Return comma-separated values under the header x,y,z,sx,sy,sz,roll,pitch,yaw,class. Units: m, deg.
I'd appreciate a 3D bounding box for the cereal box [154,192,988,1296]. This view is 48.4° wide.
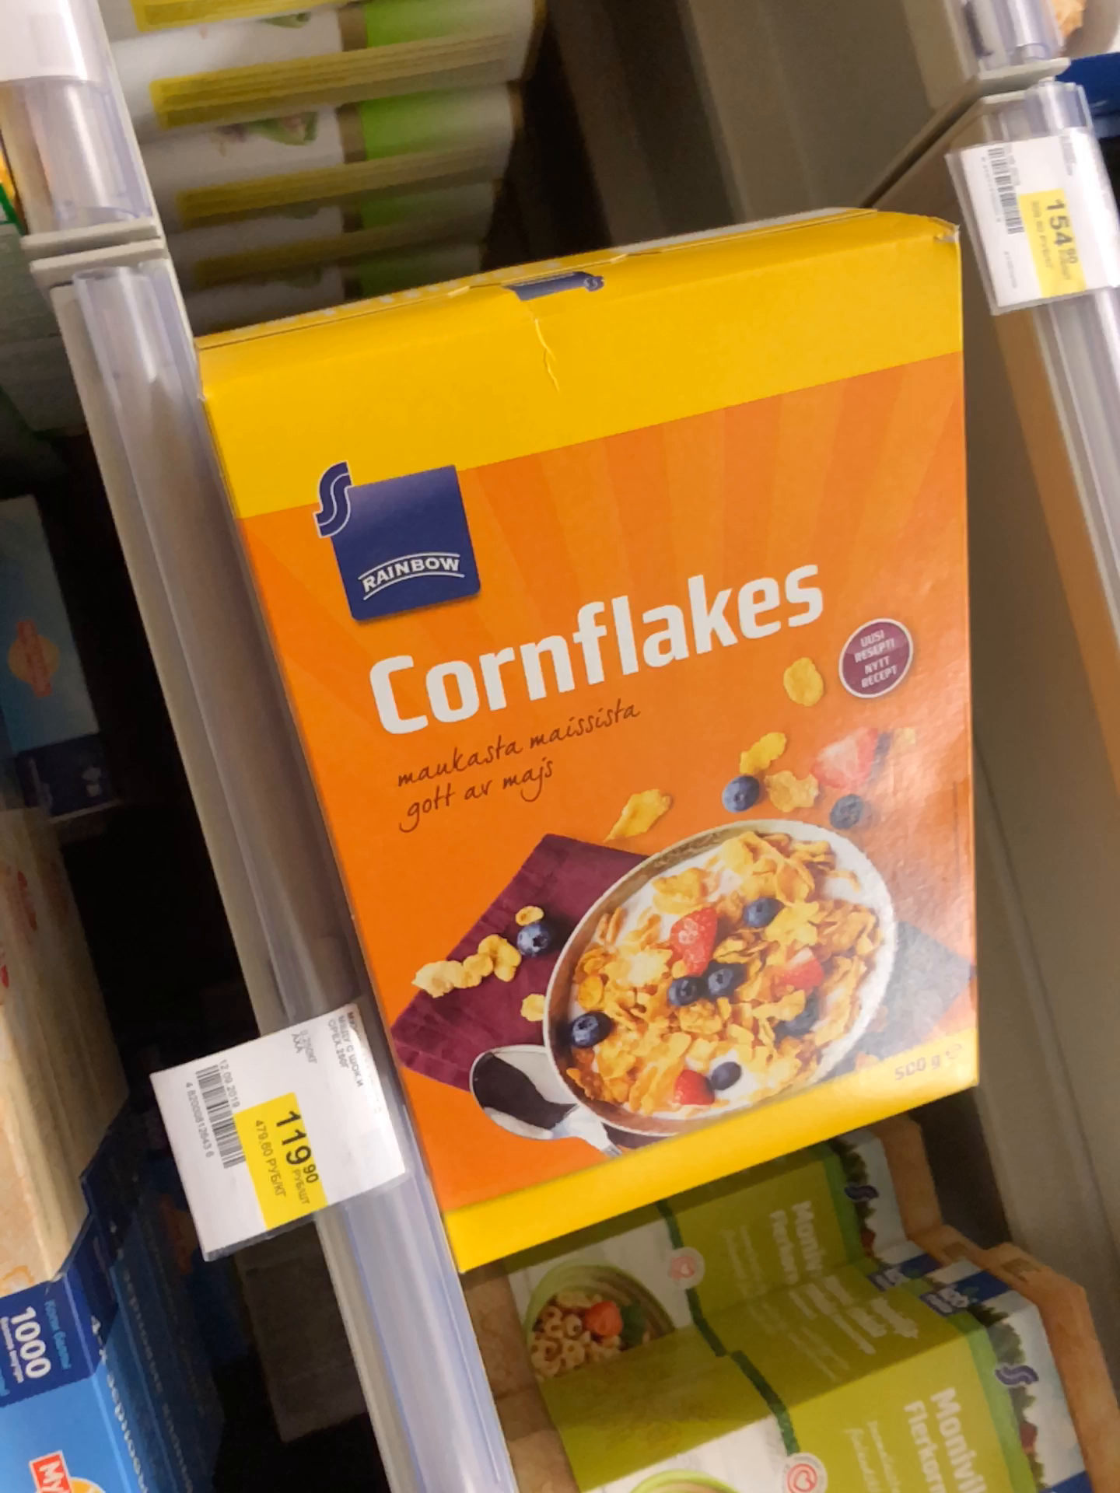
x,y,z,sx,sy,sz,roll,pitch,yaw,class
0.015,-0.004,0.401,0.120,0.201,0.290,-126,-157,-61,cereal box
